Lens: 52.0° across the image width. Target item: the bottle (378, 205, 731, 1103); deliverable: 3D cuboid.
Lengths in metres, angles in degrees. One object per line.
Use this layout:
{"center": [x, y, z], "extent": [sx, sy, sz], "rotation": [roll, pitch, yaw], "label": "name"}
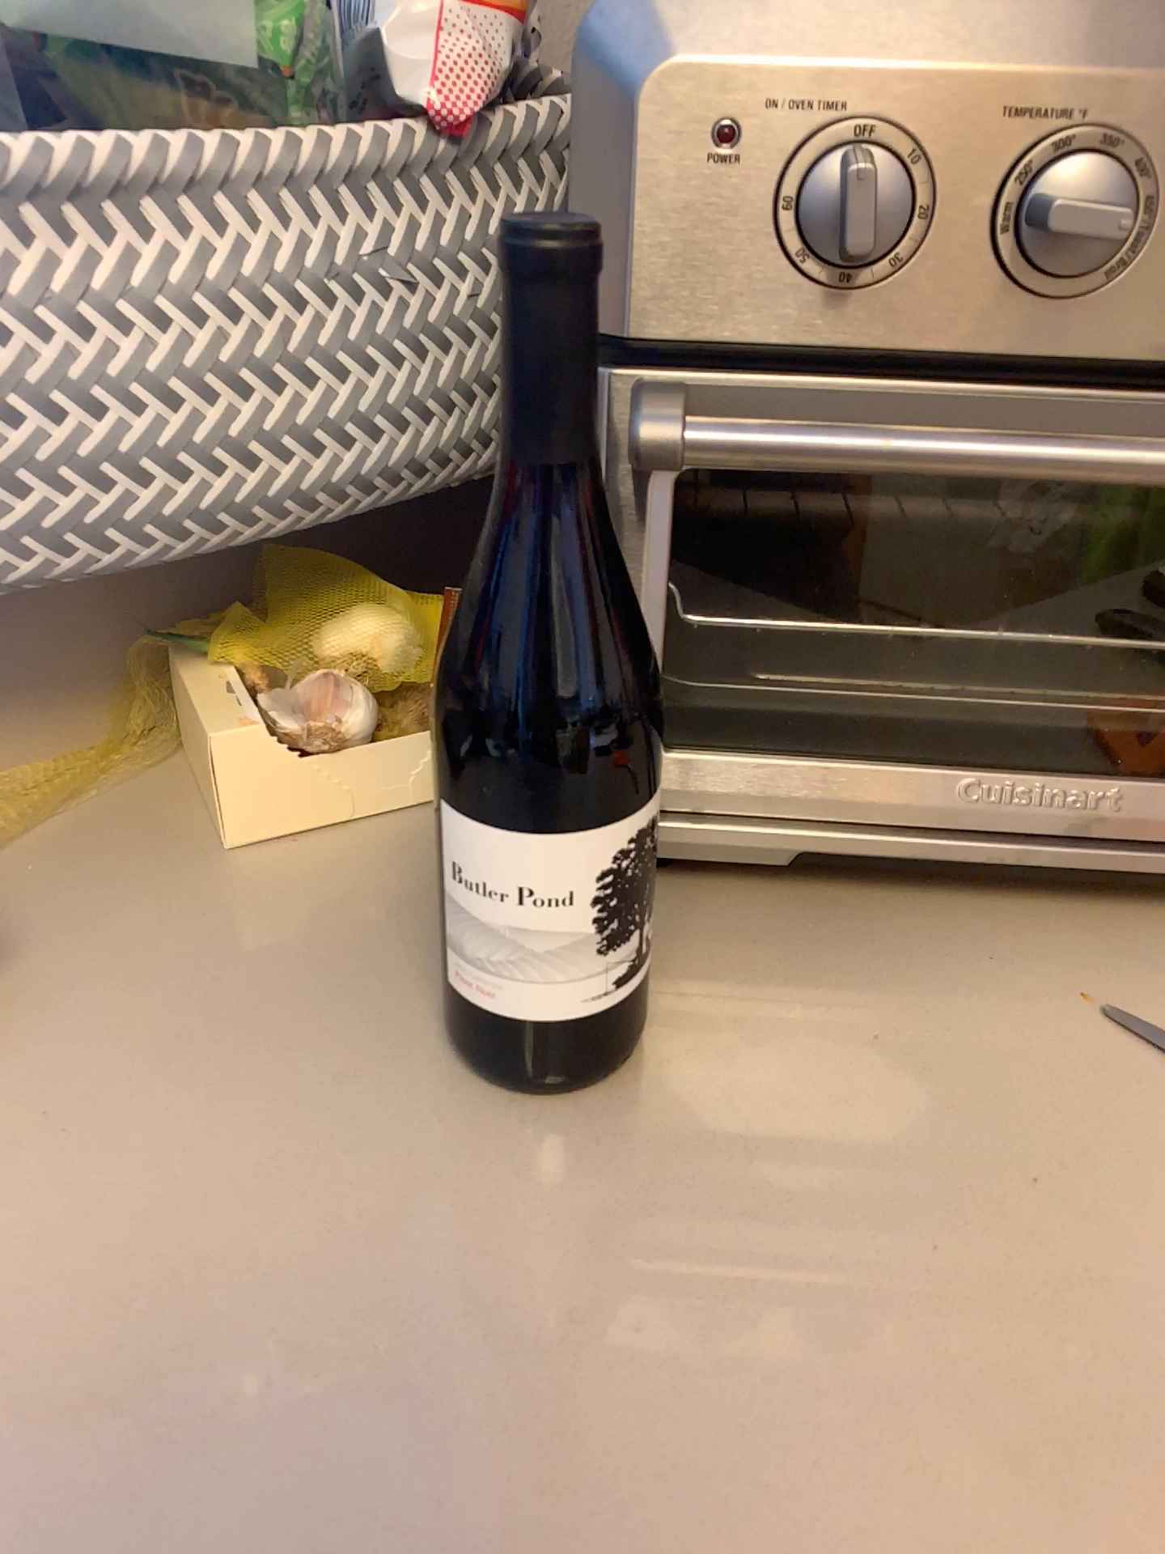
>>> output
{"center": [-0.011, -0.024, 0.368], "extent": [0.080, 0.268, 0.070], "rotation": [-1, 31, -4], "label": "bottle"}
